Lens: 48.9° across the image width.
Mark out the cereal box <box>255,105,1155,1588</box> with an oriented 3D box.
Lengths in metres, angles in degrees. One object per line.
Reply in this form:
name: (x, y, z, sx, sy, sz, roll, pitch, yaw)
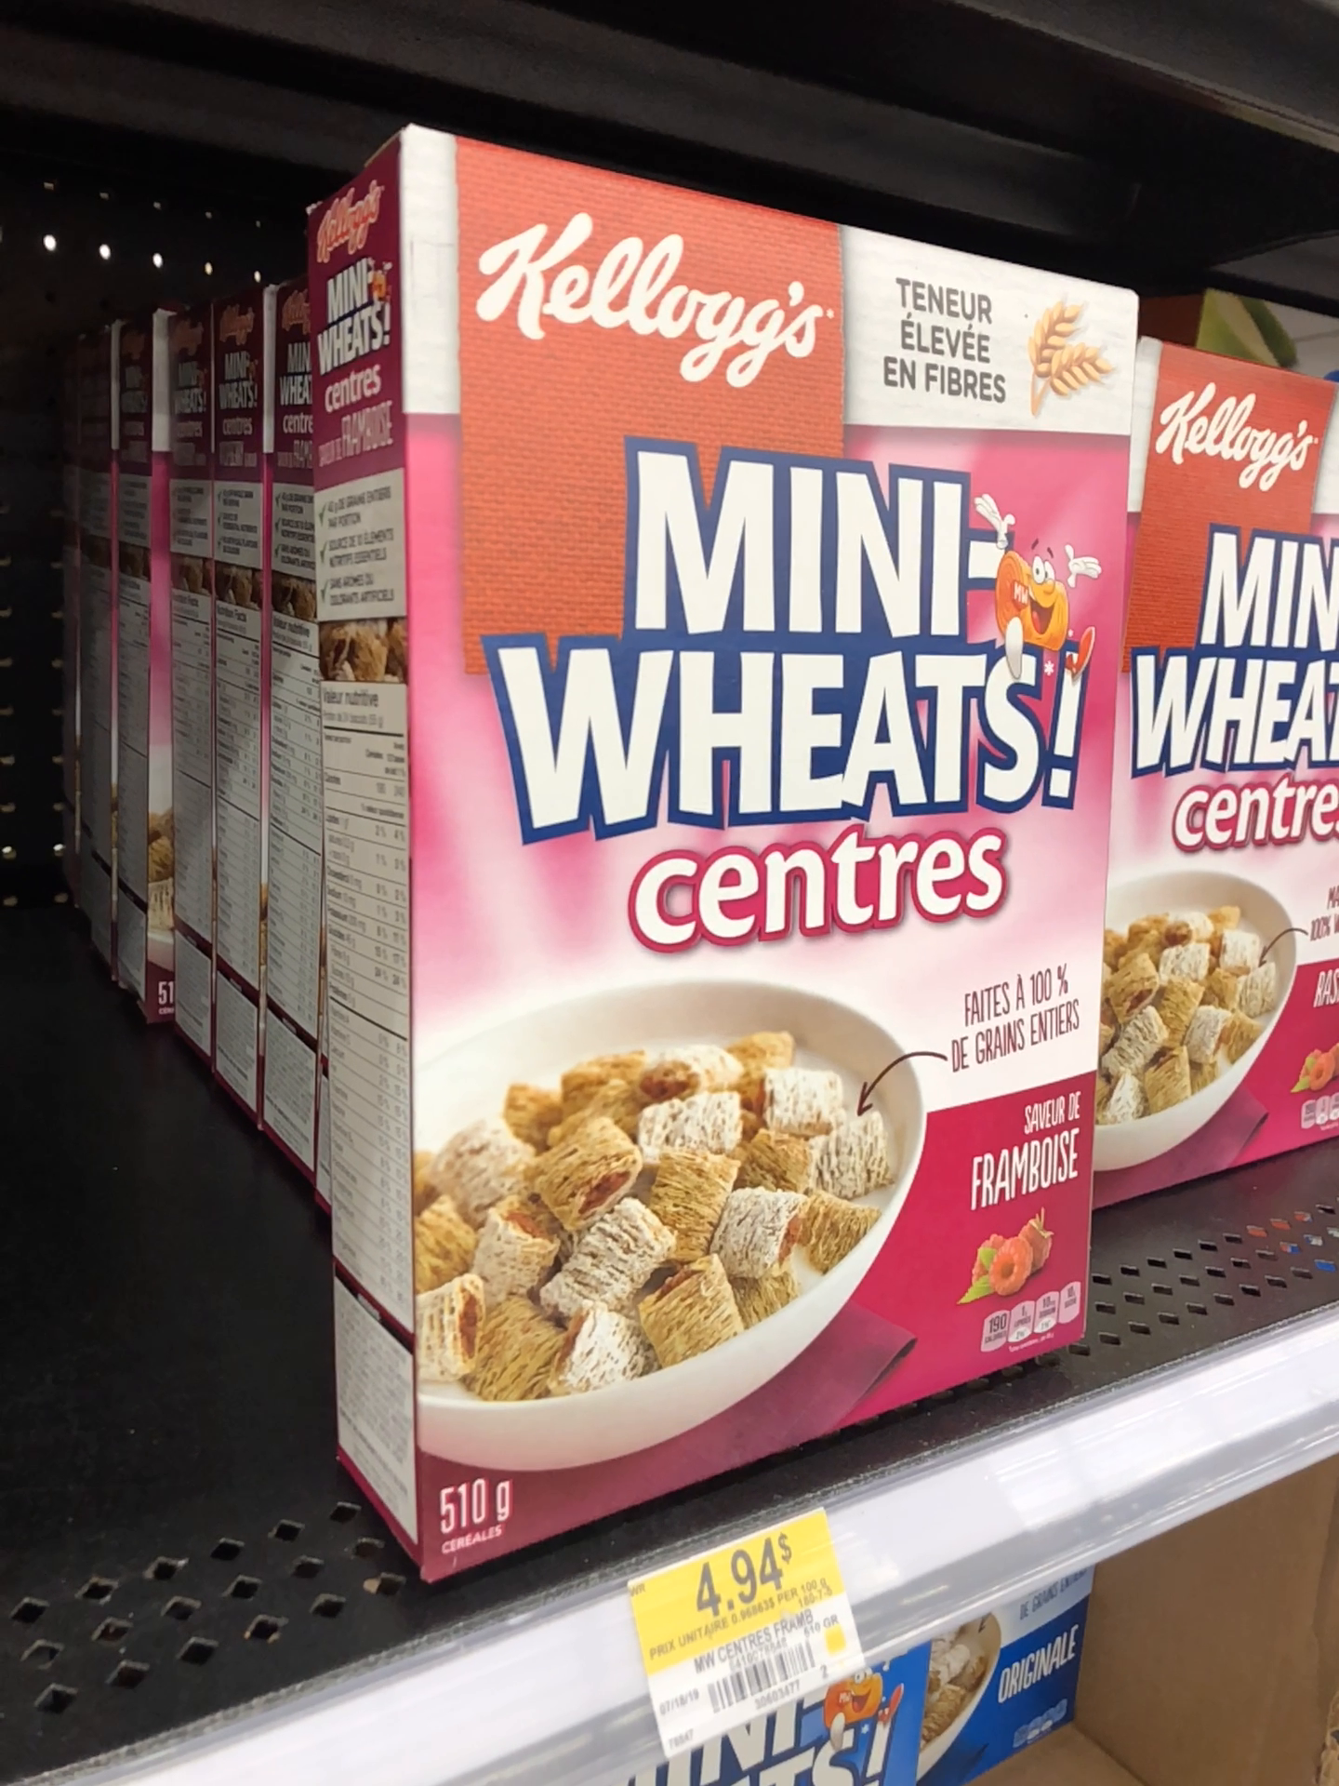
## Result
cereal box: (0.014, -0.011, 0.338, 0.190, 0.259, 0.070, -5, 10, -34)
